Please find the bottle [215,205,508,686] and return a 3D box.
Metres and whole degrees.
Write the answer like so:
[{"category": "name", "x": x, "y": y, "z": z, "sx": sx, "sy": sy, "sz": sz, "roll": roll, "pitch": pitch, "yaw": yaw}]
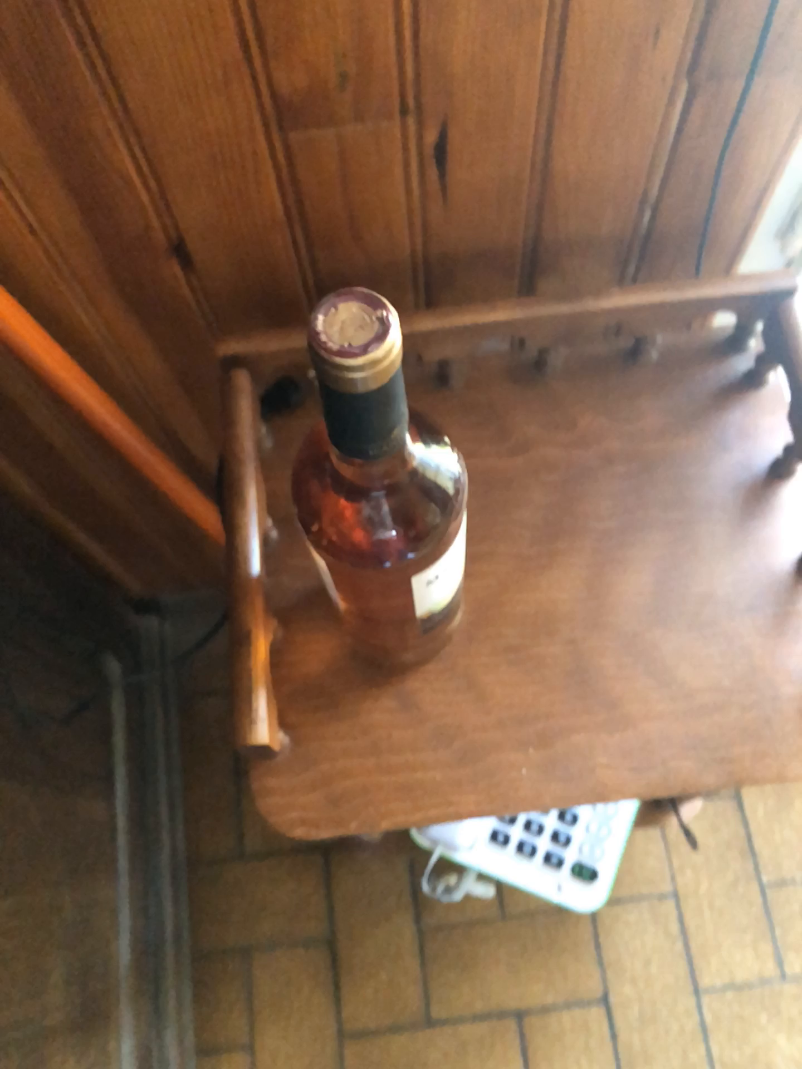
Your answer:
[{"category": "bottle", "x": -0.003, "y": -0.007, "z": 0.390, "sx": 0.070, "sy": 0.289, "sz": 0.080, "roll": 9, "pitch": 70, "yaw": 6}]
